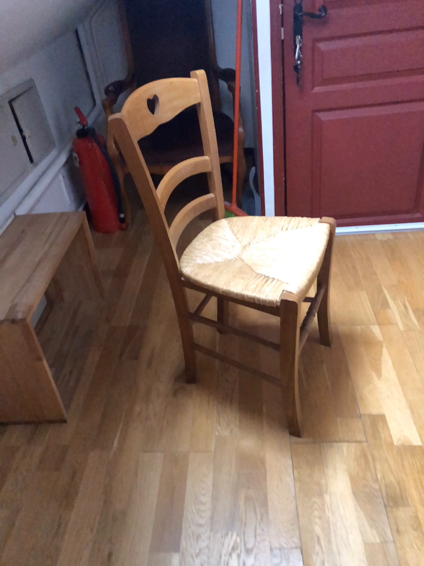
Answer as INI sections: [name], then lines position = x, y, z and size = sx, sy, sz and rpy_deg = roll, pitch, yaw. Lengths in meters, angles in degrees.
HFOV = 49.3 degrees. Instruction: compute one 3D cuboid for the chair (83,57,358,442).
[chair]
position = 0.087, -0.090, 1.183
size = 0.433, 0.793, 0.461
rpy_deg = 9, 37, 22
